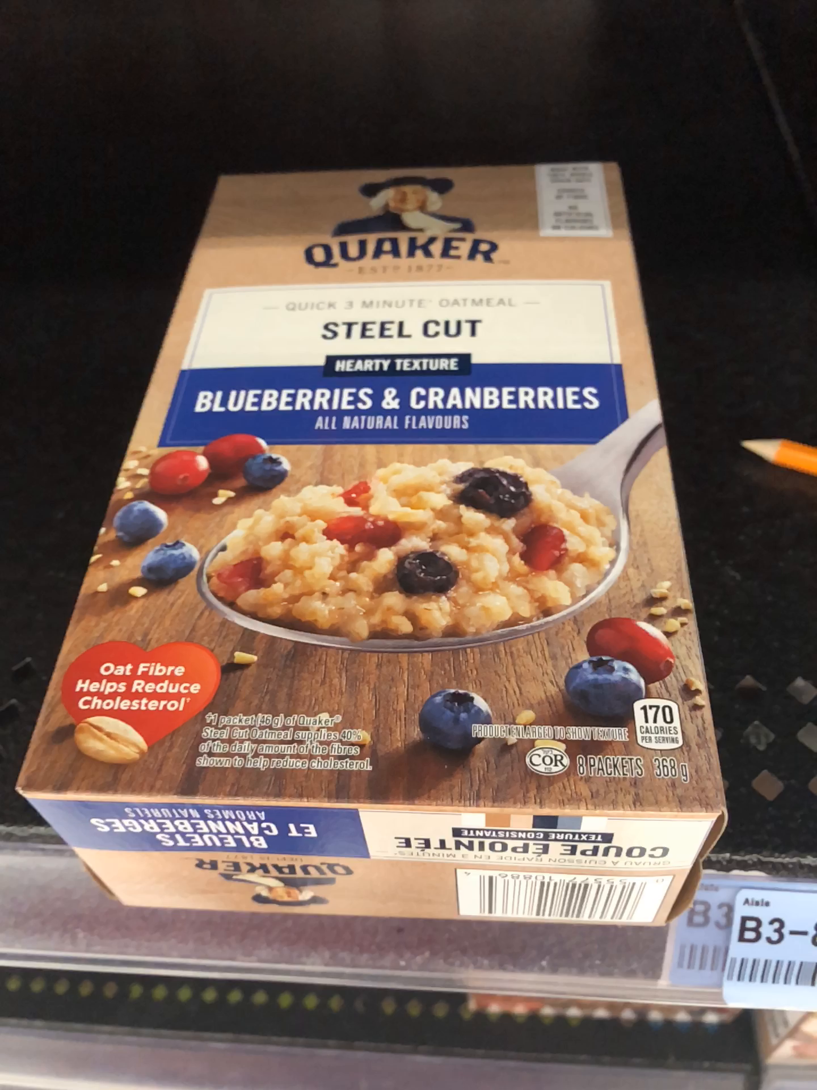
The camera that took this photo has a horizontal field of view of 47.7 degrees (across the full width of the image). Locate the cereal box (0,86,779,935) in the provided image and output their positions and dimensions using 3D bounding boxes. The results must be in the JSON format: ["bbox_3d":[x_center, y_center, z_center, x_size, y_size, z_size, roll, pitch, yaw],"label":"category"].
[{"bbox_3d":[0.002,-0.032,0.248,0.130,0.060,0.241,0,52,5],"label":"cereal box"}]
